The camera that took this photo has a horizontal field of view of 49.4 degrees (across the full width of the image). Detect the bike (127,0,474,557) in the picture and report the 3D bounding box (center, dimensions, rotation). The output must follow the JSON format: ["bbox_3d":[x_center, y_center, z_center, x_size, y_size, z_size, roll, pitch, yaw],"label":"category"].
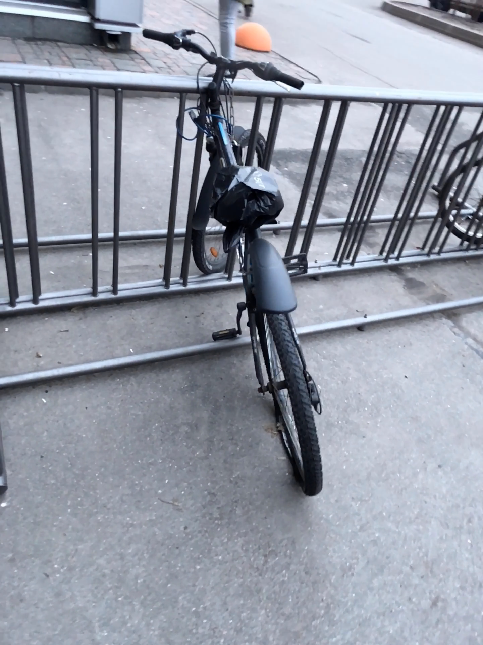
[{"bbox_3d":[0.021,-0.314,1.755,0.535,1.050,1.593,6,40,-10],"label":"bike"}]
